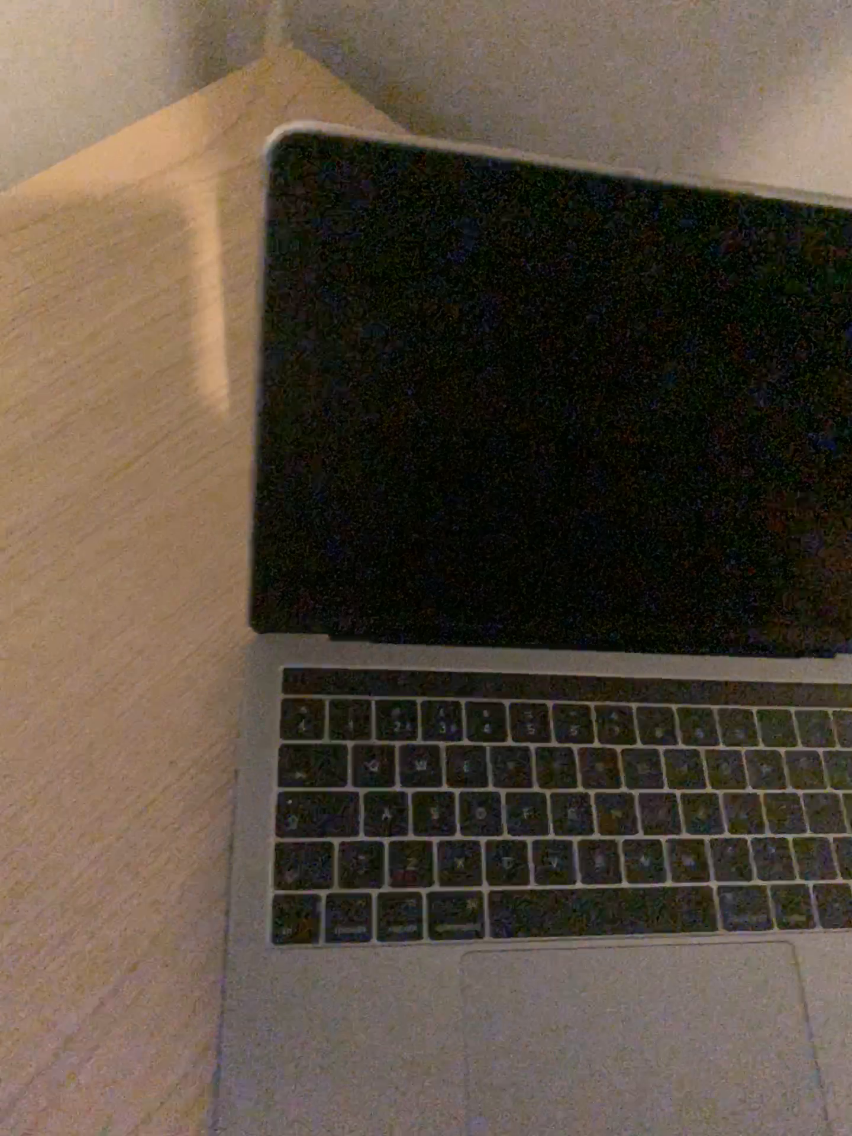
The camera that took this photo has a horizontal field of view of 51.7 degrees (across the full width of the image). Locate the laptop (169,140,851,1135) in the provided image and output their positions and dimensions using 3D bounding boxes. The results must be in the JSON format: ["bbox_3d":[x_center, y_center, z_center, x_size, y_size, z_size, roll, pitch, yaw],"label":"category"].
[{"bbox_3d":[0.095,0.063,0.268,0.294,0.198,0.257,3,63,-10],"label":"laptop"}]
